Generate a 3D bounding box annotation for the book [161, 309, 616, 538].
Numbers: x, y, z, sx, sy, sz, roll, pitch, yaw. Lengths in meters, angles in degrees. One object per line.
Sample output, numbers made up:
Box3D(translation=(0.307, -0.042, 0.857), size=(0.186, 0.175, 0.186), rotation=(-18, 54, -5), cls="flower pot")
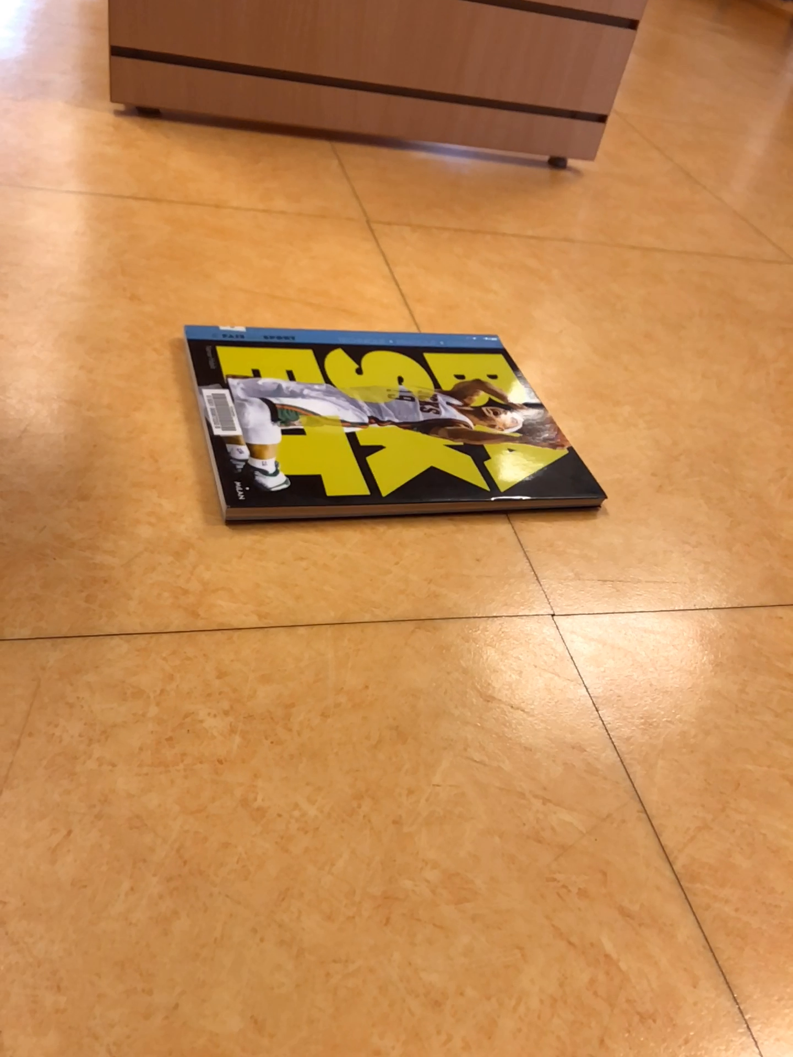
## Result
Box3D(translation=(-0.014, -0.075, 0.556), size=(0.245, 0.020, 0.201), rotation=(-3, 43, -21), cls="book")
